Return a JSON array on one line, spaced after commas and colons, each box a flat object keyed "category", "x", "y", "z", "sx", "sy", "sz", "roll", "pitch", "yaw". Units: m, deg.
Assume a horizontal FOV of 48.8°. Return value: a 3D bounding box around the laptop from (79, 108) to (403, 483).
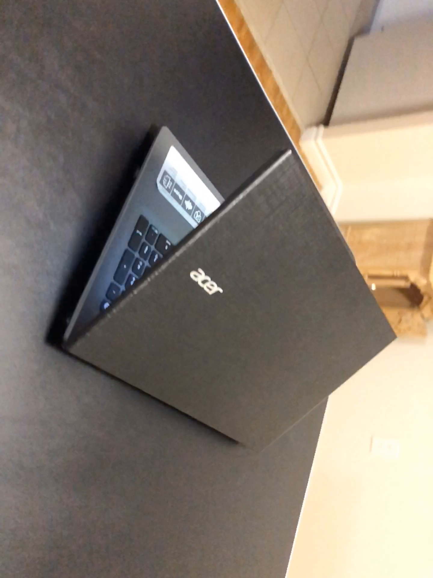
[{"category": "laptop", "x": 0.074, "y": 0.037, "z": 0.550, "sx": 0.370, "sy": 0.155, "sz": 0.251, "roll": 44, "pitch": 57, "yaw": -46}]
